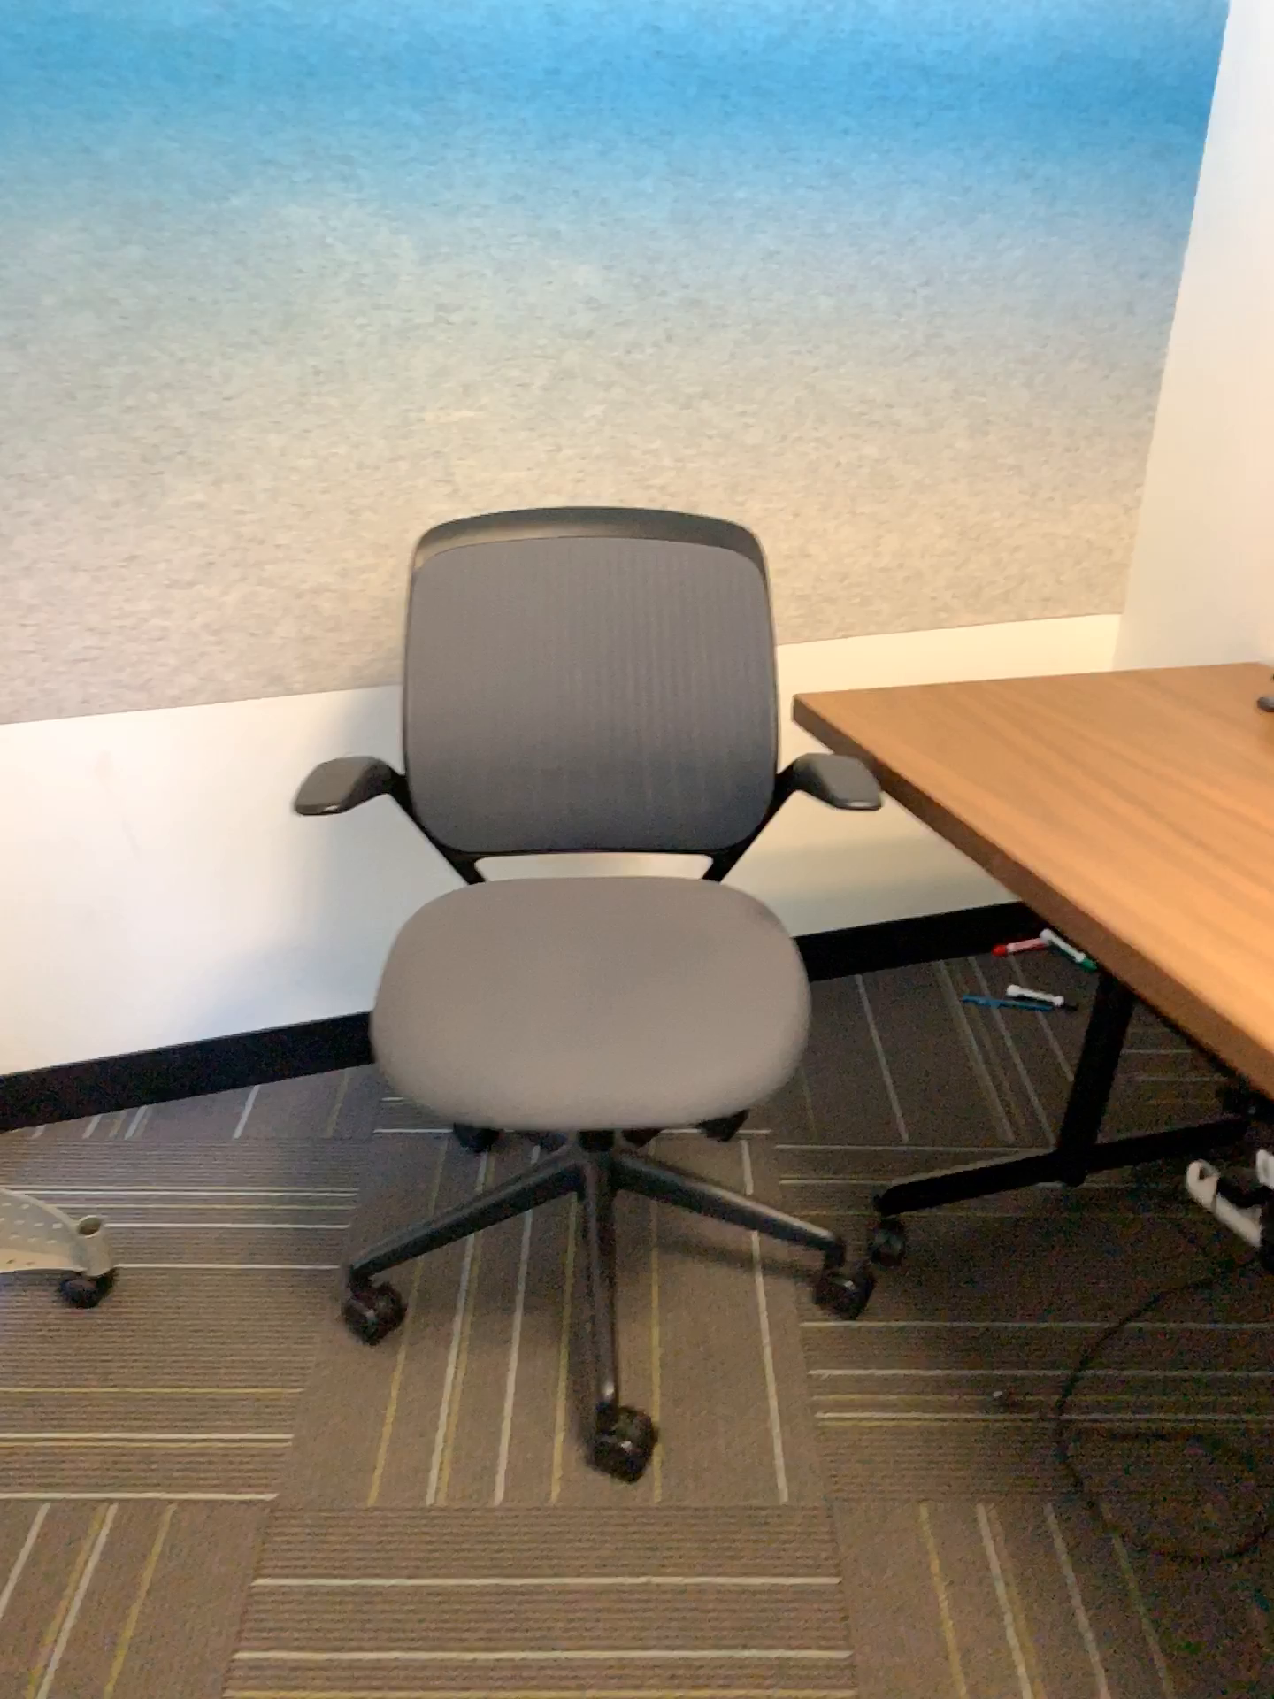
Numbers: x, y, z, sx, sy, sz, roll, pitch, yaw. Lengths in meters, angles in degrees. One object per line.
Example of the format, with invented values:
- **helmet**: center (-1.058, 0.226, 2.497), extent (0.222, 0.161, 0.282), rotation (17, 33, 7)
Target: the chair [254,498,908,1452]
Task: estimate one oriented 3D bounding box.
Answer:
- **chair**: center (-0.049, 0.122, 1.504), extent (0.540, 0.935, 0.533), rotation (1, 23, 1)
